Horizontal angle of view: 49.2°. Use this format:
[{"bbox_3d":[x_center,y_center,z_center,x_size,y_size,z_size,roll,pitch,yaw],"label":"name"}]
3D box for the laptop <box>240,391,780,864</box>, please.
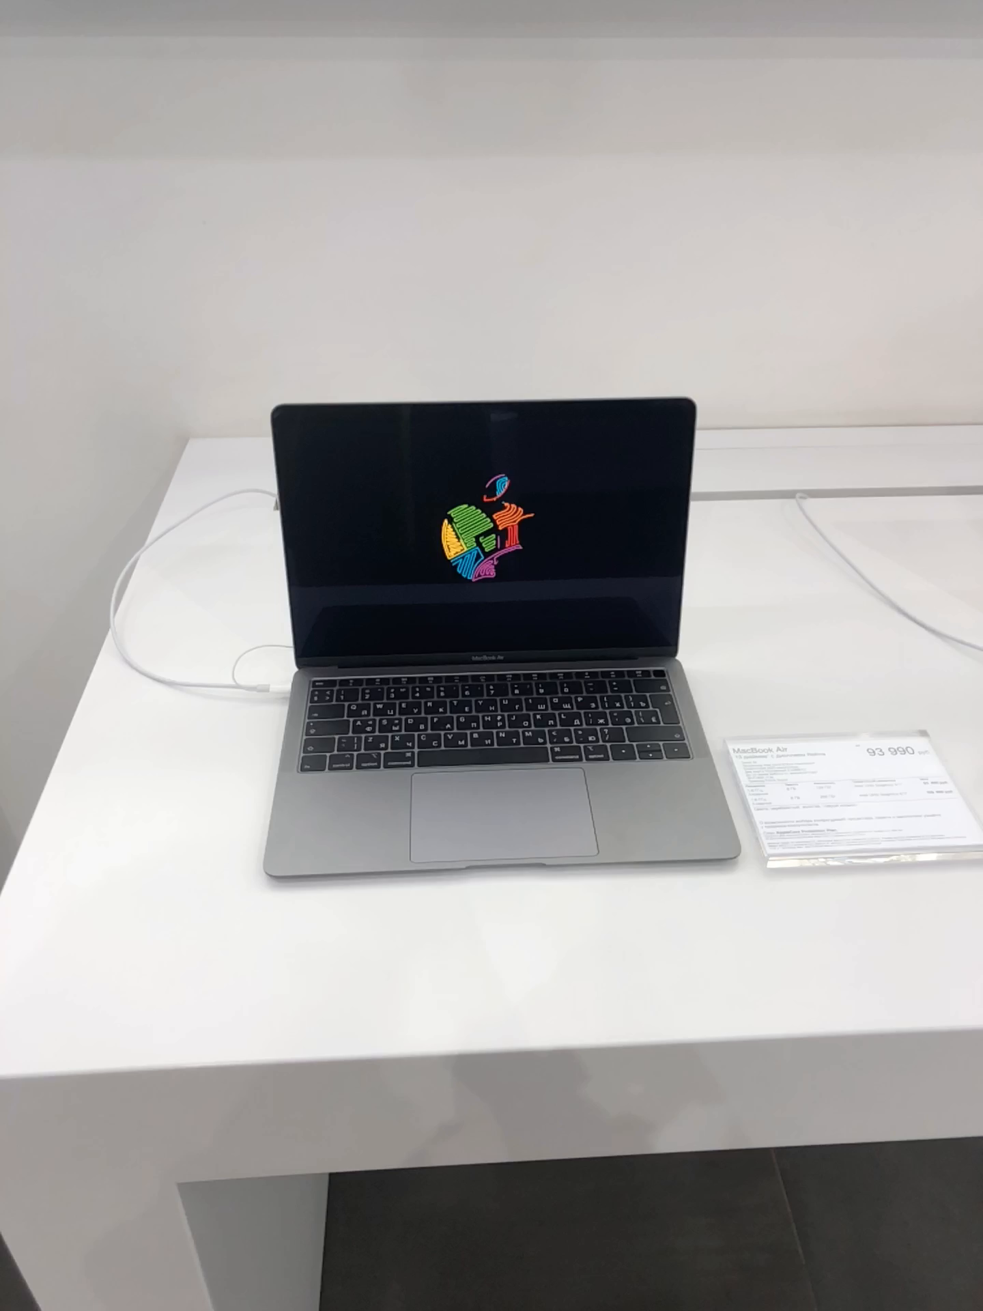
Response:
[{"bbox_3d":[-0.001,-0.030,0.719,0.284,0.194,0.251,-2,37,-4],"label":"laptop"}]
